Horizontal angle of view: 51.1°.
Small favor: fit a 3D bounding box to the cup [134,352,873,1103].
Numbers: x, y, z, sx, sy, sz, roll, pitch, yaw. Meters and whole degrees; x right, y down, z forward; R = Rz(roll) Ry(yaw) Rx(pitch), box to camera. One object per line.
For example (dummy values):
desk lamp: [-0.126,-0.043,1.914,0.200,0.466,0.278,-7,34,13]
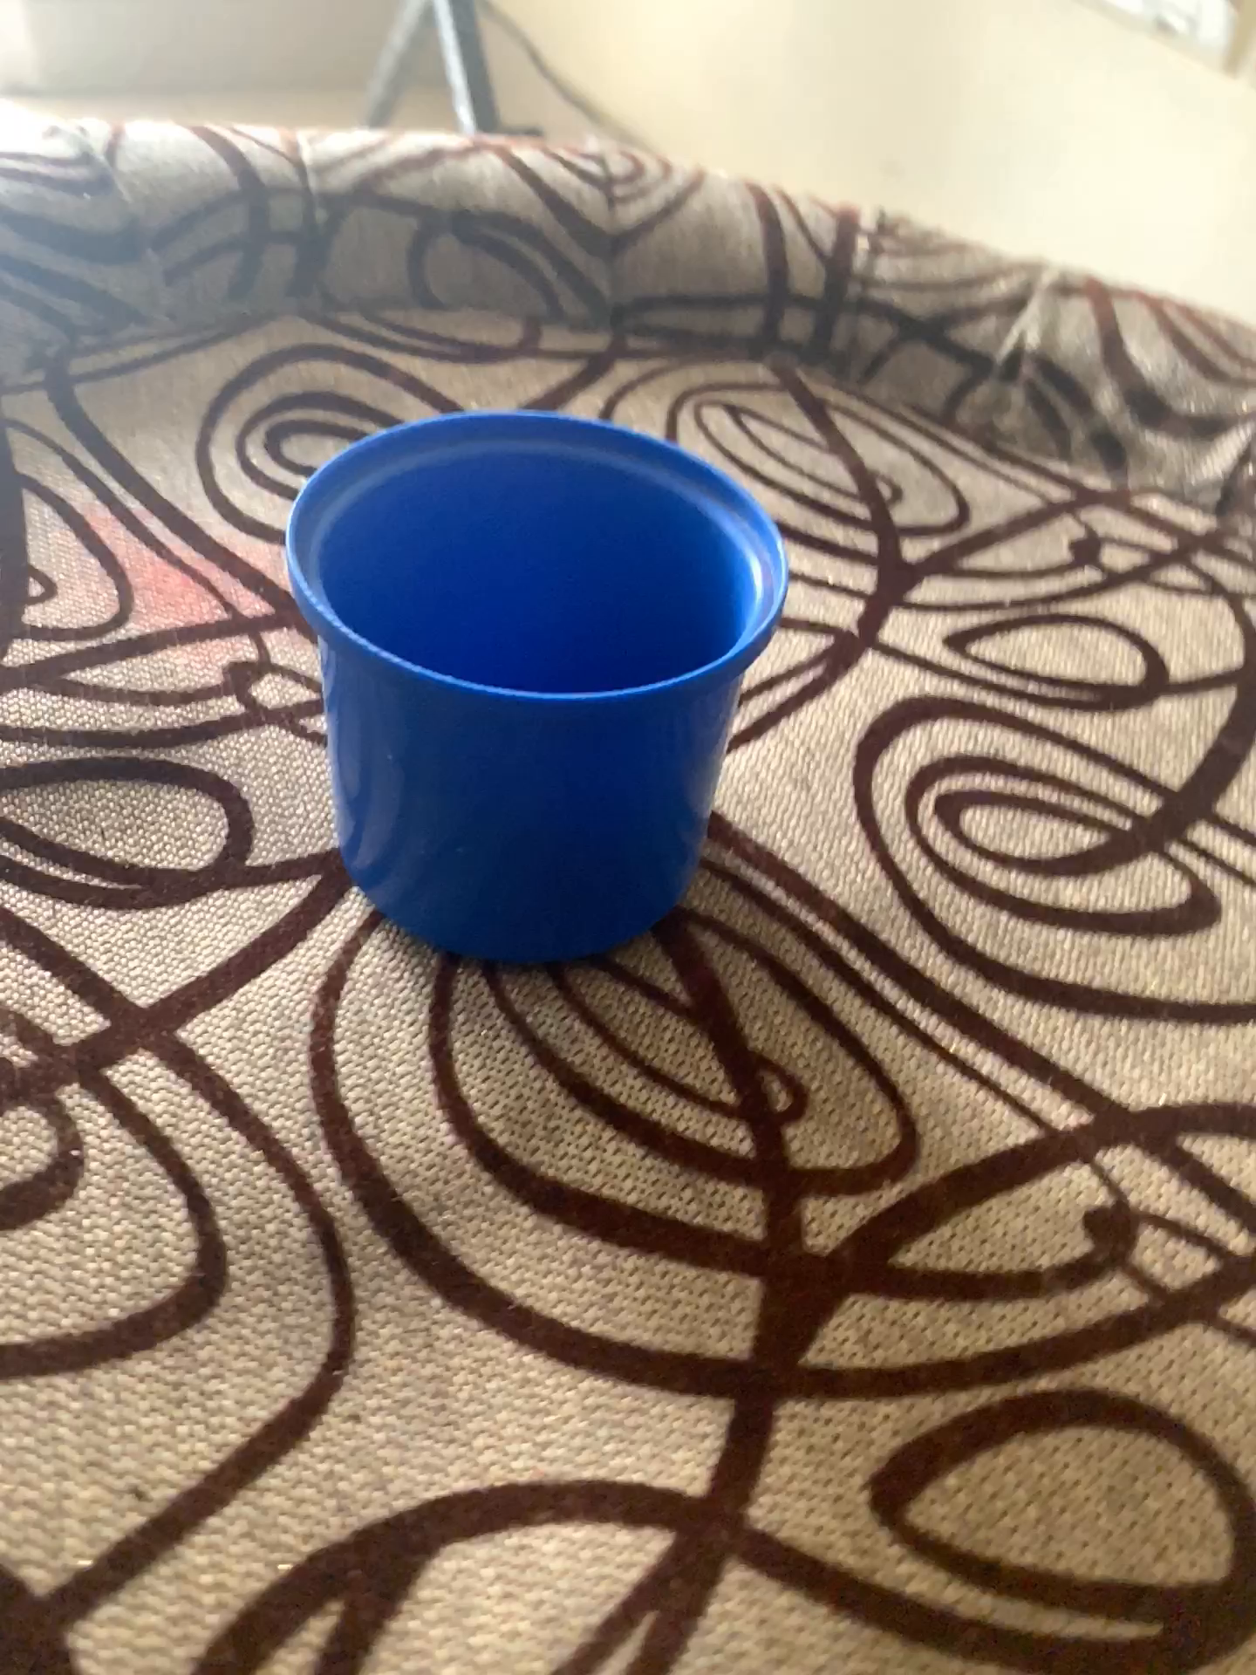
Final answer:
cup: [-0.018,-0.022,0.223,0.080,0.069,0.081,5,46,-5]
